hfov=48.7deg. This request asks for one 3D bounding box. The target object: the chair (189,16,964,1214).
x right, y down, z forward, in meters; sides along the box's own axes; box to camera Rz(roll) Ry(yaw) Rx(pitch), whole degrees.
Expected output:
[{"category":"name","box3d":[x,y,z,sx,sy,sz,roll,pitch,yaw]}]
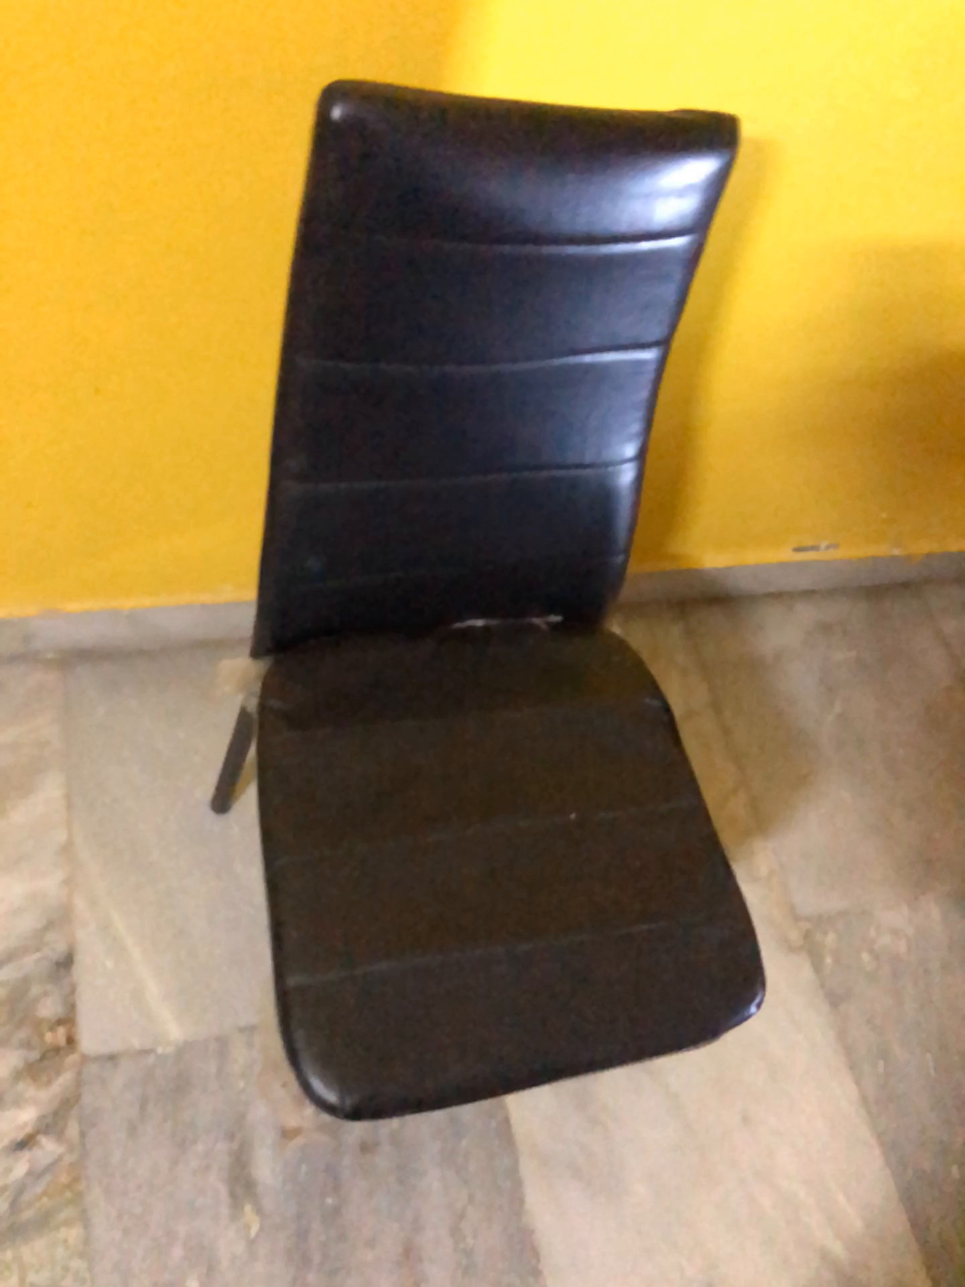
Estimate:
[{"category":"chair","box3d":[0.021,0.100,0.906,0.481,0.905,0.532,-4,60,-18]}]
